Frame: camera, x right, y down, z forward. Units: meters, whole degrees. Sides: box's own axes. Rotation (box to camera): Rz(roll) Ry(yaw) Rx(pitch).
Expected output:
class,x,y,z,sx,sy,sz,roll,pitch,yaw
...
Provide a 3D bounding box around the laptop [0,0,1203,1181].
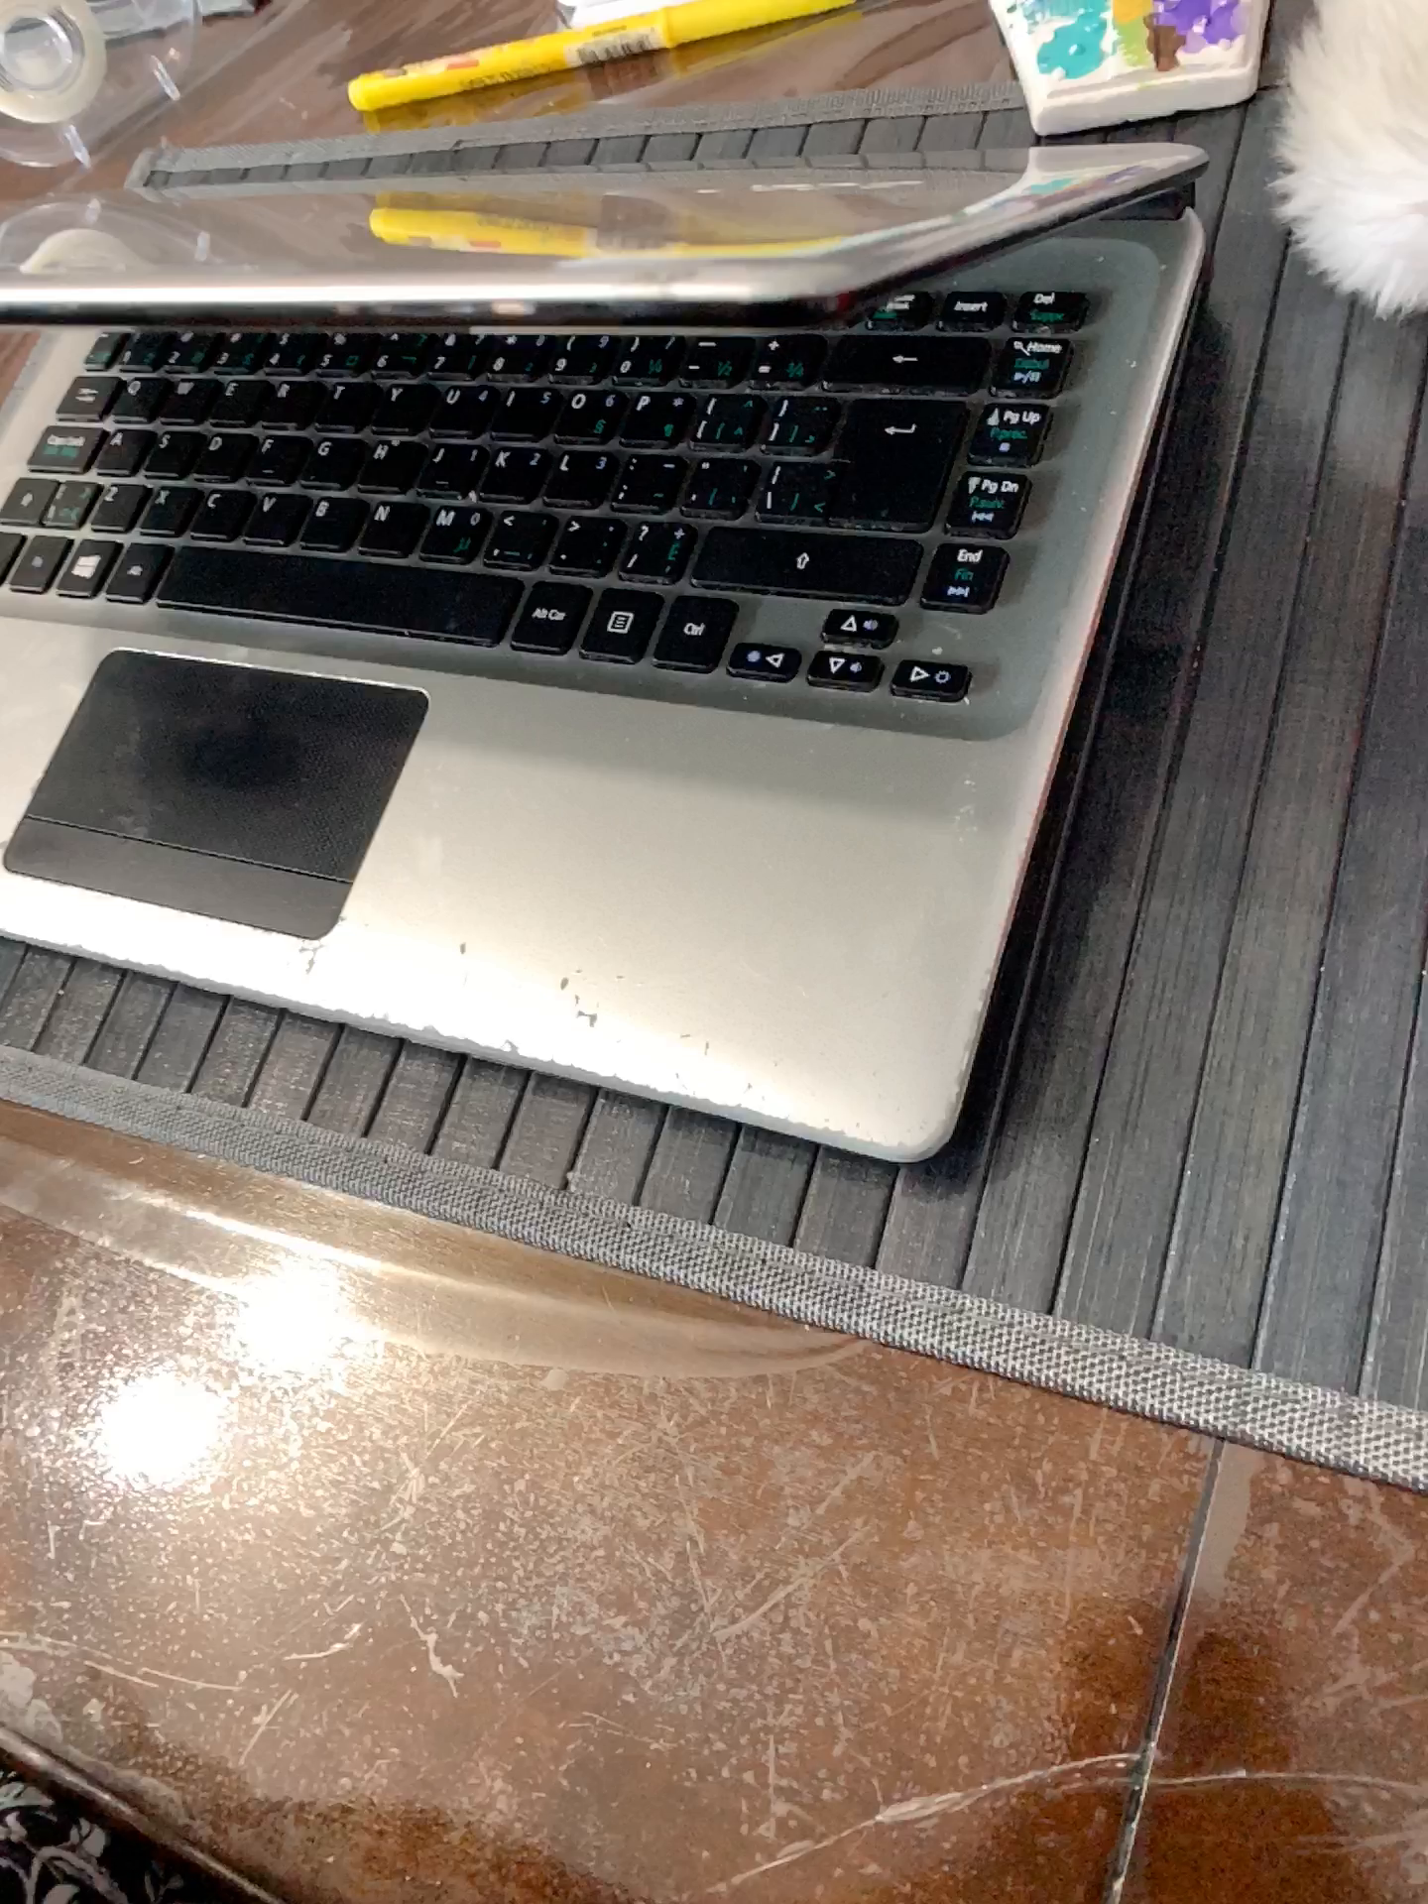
class,x,y,z,sx,sy,sz,roll,pitch,yaw
laptop,-0.100,-0.125,0.312,0.345,0.145,0.236,11,71,24
